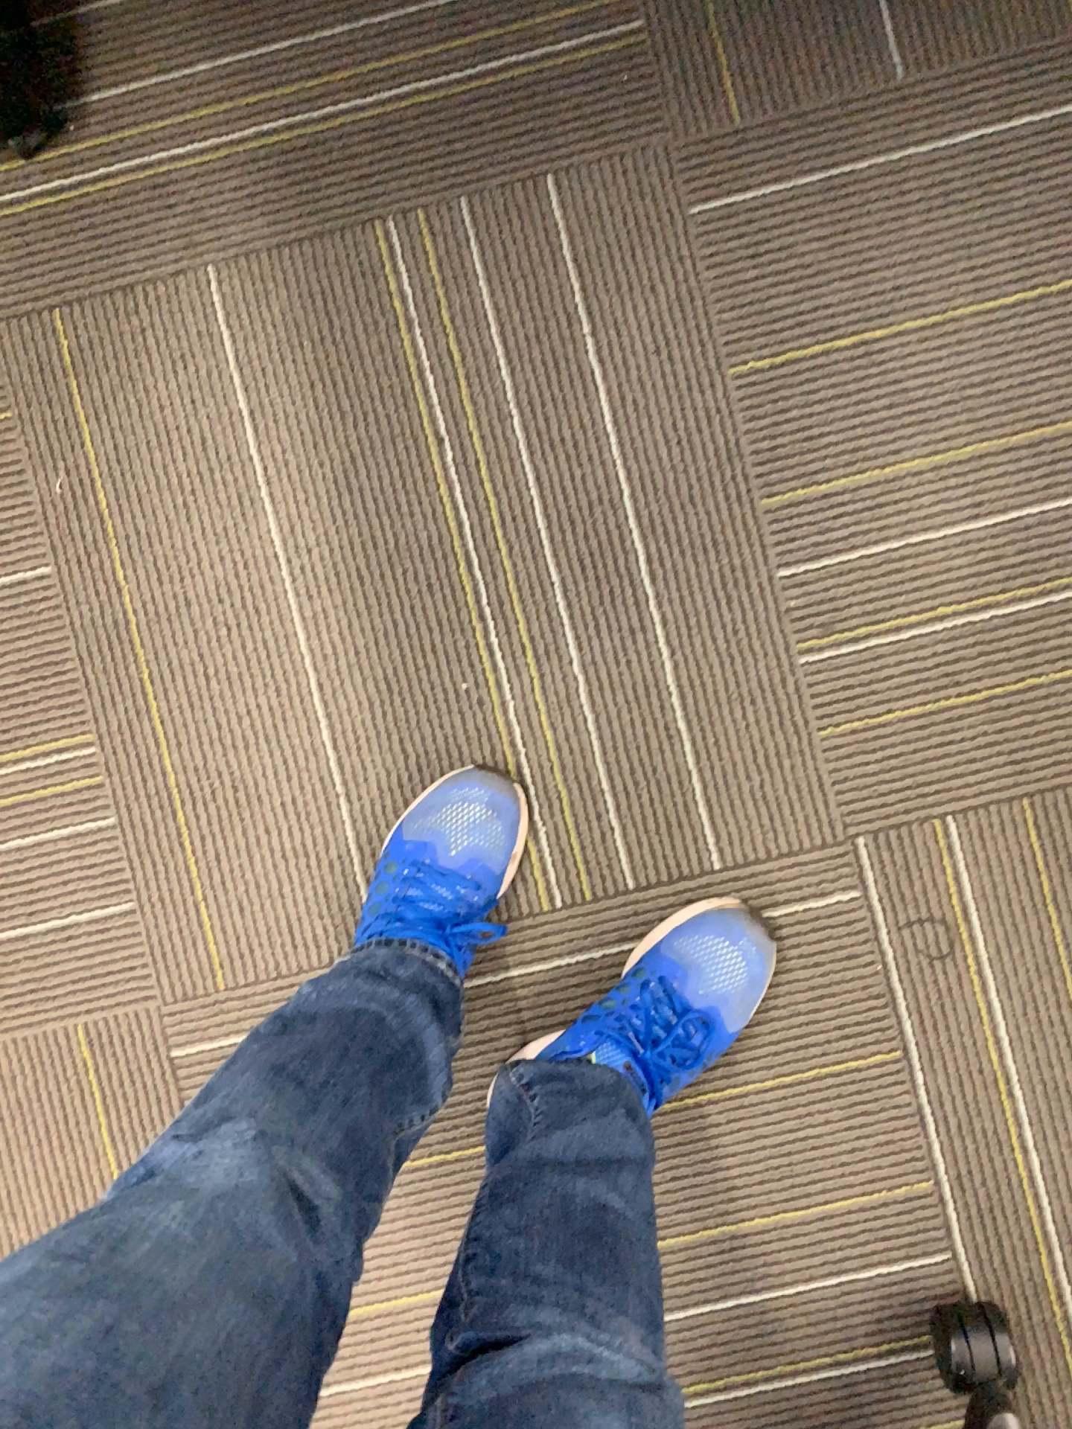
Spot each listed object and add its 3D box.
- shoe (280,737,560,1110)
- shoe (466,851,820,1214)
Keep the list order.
[{"bbox_3d":[-0.101,0.183,0.988,0.125,0.077,0.298,26,92,3],"label":"shoe"},{"bbox_3d":[0.092,0.277,0.973,0.128,0.077,0.299,44,92,2],"label":"shoe"}]
